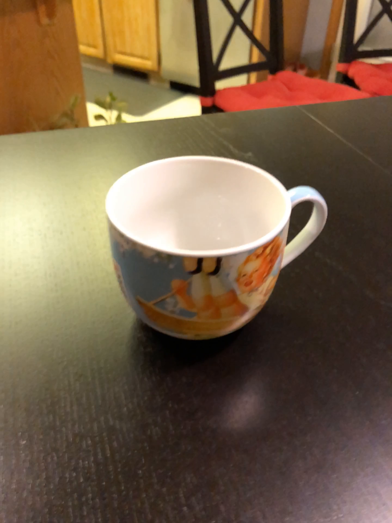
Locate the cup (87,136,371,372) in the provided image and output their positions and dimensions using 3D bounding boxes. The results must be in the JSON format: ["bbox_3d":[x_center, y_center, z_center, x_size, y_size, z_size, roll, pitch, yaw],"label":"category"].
[{"bbox_3d":[0.011,-0.015,0.310,0.150,0.089,0.121,-9,40,-13],"label":"cup"}]
